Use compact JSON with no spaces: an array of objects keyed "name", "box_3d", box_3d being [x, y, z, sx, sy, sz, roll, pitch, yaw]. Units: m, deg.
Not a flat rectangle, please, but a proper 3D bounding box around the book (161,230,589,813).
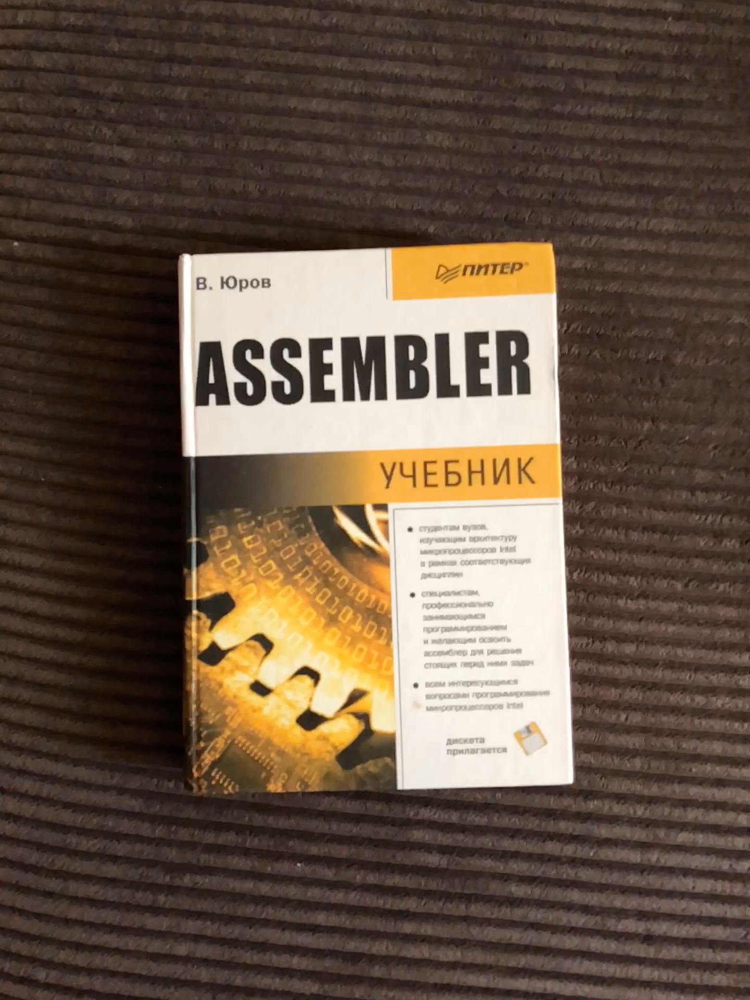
[{"name":"book","box_3d":[-0.002,0.008,0.371,0.170,0.058,0.236,-2,86,-1]}]
